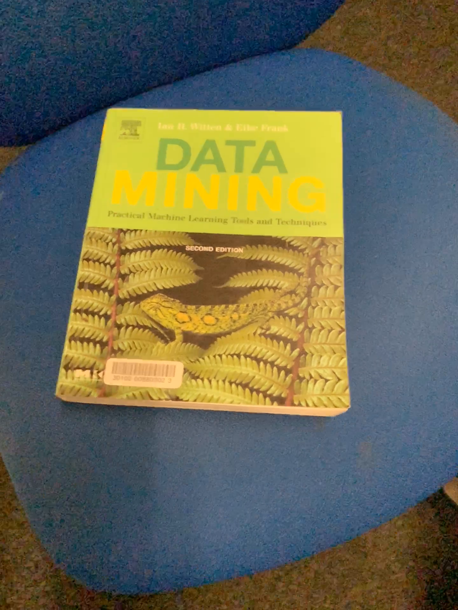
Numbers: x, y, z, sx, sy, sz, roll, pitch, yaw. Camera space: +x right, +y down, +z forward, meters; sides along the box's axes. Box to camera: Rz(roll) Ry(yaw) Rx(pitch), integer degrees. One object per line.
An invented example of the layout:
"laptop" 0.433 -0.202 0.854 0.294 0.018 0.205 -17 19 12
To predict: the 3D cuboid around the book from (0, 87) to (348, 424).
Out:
"book" -0.033 -0.044 0.346 0.220 0.050 0.241 2 72 4
